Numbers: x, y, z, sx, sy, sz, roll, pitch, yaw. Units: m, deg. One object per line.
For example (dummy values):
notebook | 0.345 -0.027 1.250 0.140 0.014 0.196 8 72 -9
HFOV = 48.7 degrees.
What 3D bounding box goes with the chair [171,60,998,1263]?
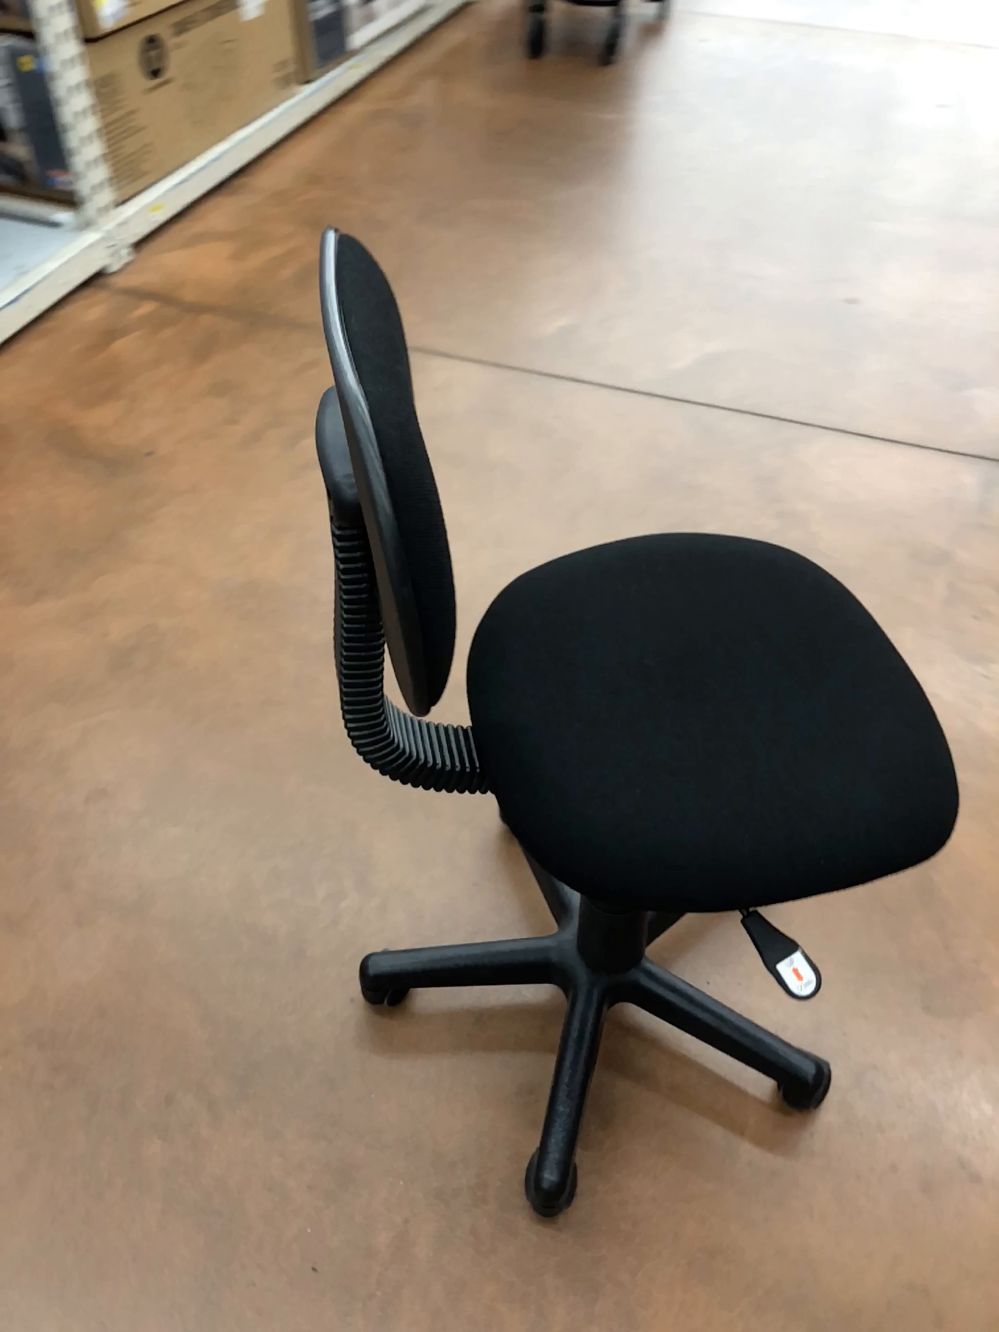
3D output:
chair | 0.133 -0.003 1.009 0.660 0.797 0.672 -6 45 -7
